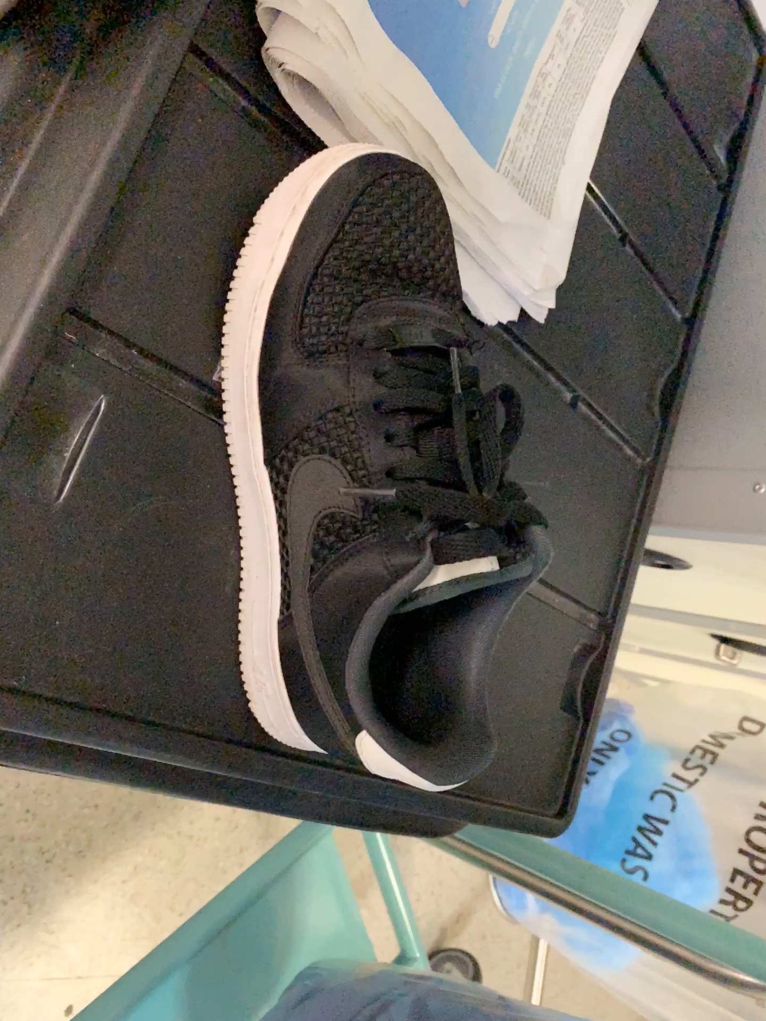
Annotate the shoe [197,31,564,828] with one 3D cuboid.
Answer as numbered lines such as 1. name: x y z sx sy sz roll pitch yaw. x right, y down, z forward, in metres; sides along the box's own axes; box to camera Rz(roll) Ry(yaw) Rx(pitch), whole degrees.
1. shoe: -0.002 -0.024 0.288 0.090 0.094 0.224 -4 97 -43
